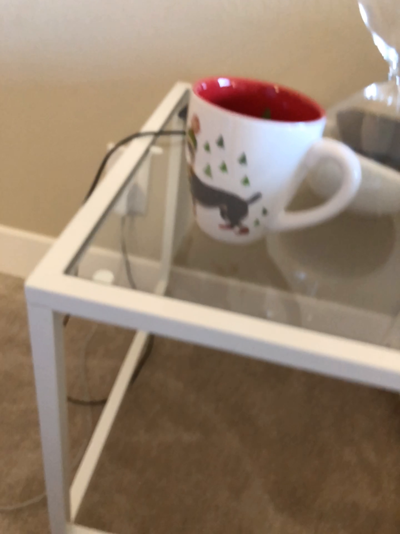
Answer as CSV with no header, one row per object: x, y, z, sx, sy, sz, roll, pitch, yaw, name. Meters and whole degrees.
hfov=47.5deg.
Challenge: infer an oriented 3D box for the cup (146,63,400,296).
0.051,-0.077,0.358,0.150,0.109,0.100,29,40,23,cup
